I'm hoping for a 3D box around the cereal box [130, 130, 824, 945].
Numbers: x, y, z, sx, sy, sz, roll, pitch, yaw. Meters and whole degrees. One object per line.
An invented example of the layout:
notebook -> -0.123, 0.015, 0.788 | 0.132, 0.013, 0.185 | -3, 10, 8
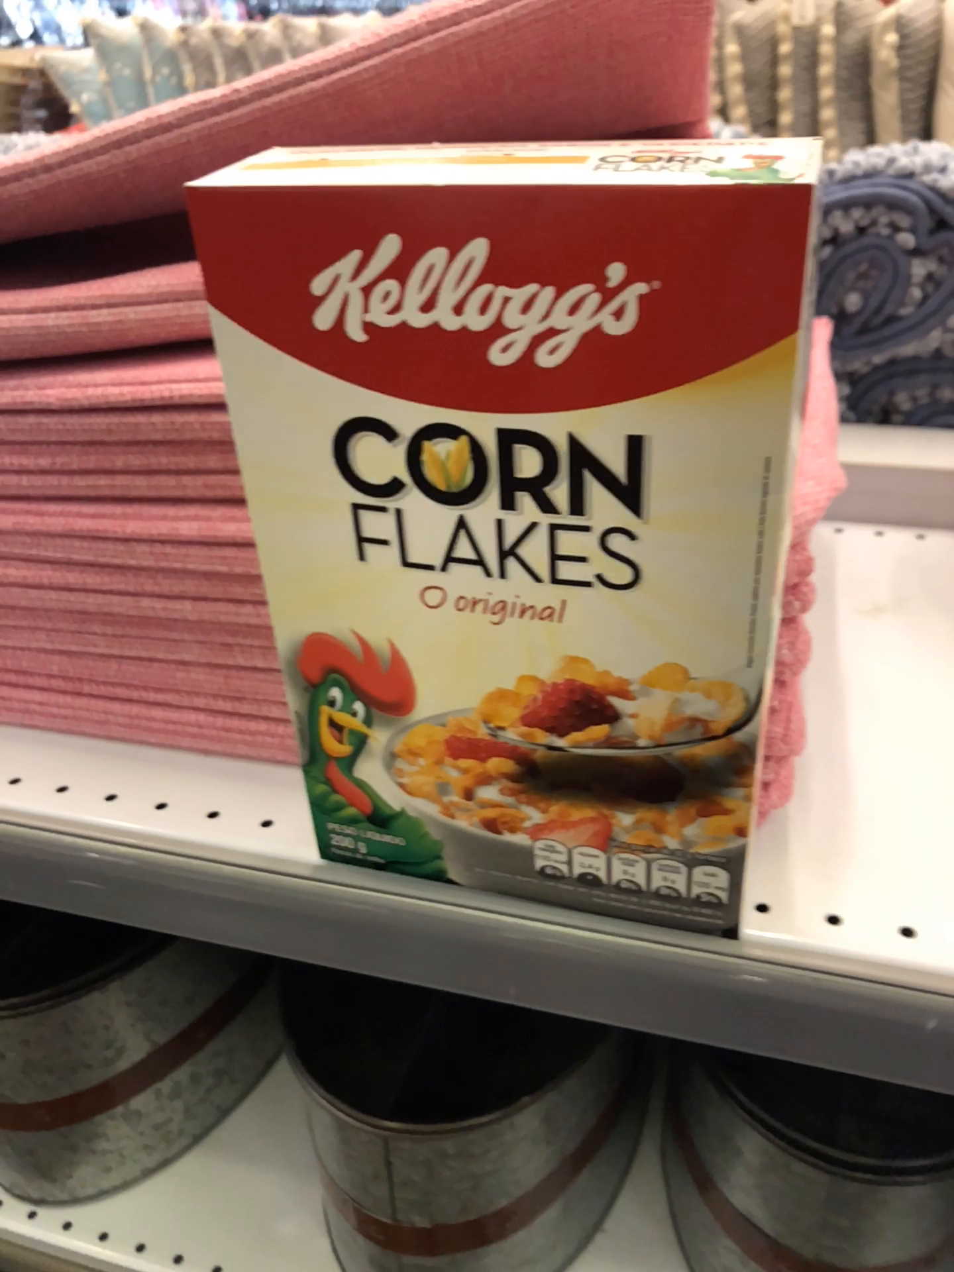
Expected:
cereal box -> 0.008, -0.024, 0.361 | 0.180, 0.258, 0.060 | 7, 35, 17
